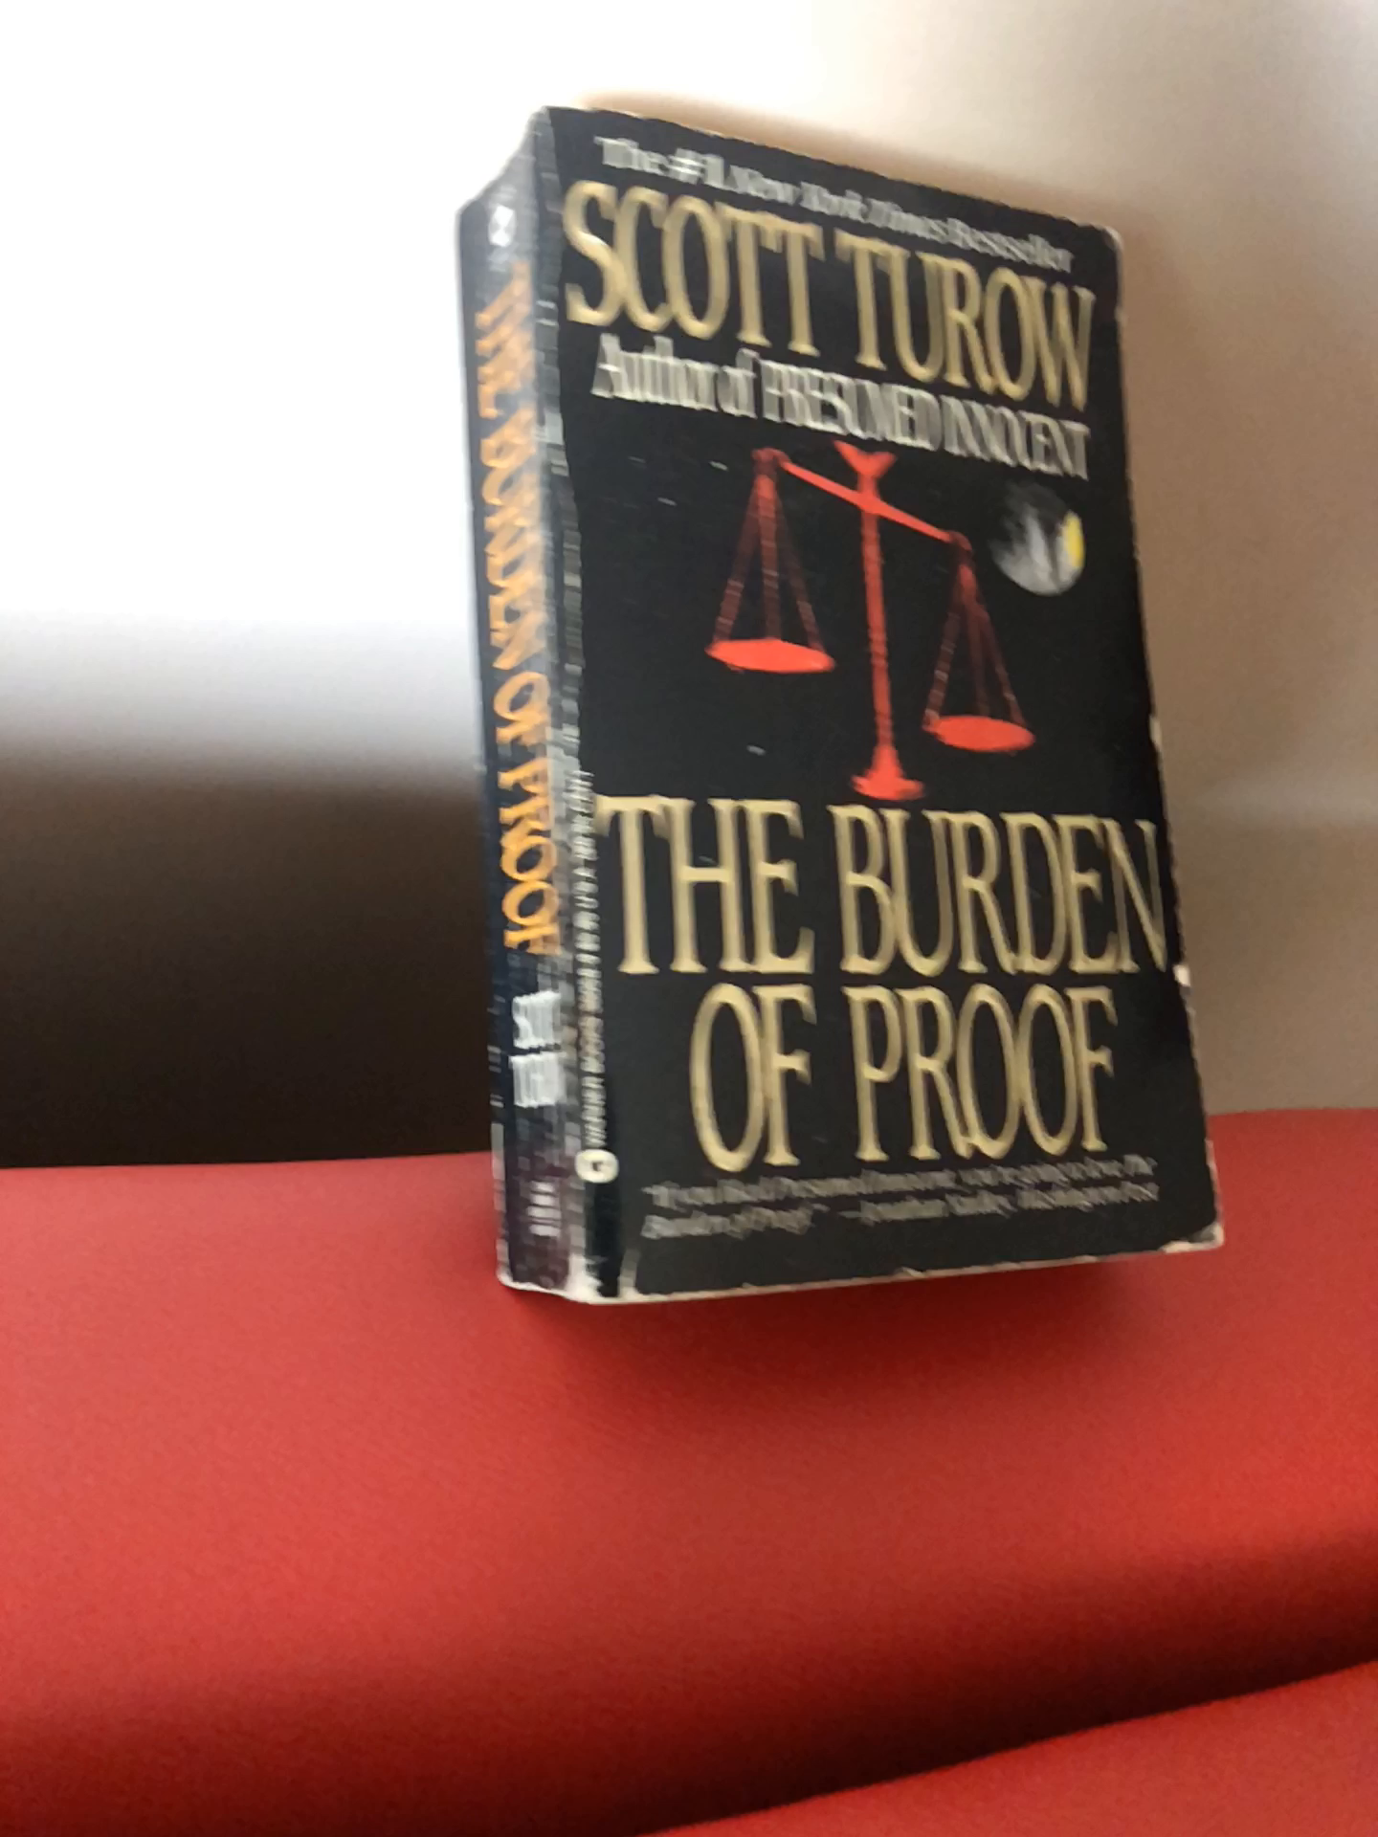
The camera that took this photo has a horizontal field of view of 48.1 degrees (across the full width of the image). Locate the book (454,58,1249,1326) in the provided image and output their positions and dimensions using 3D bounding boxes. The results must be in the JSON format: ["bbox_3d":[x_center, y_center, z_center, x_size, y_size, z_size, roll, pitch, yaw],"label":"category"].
[{"bbox_3d":[0.024,-0.031,0.244,0.106,0.045,0.171,1,81,-26],"label":"book"}]
